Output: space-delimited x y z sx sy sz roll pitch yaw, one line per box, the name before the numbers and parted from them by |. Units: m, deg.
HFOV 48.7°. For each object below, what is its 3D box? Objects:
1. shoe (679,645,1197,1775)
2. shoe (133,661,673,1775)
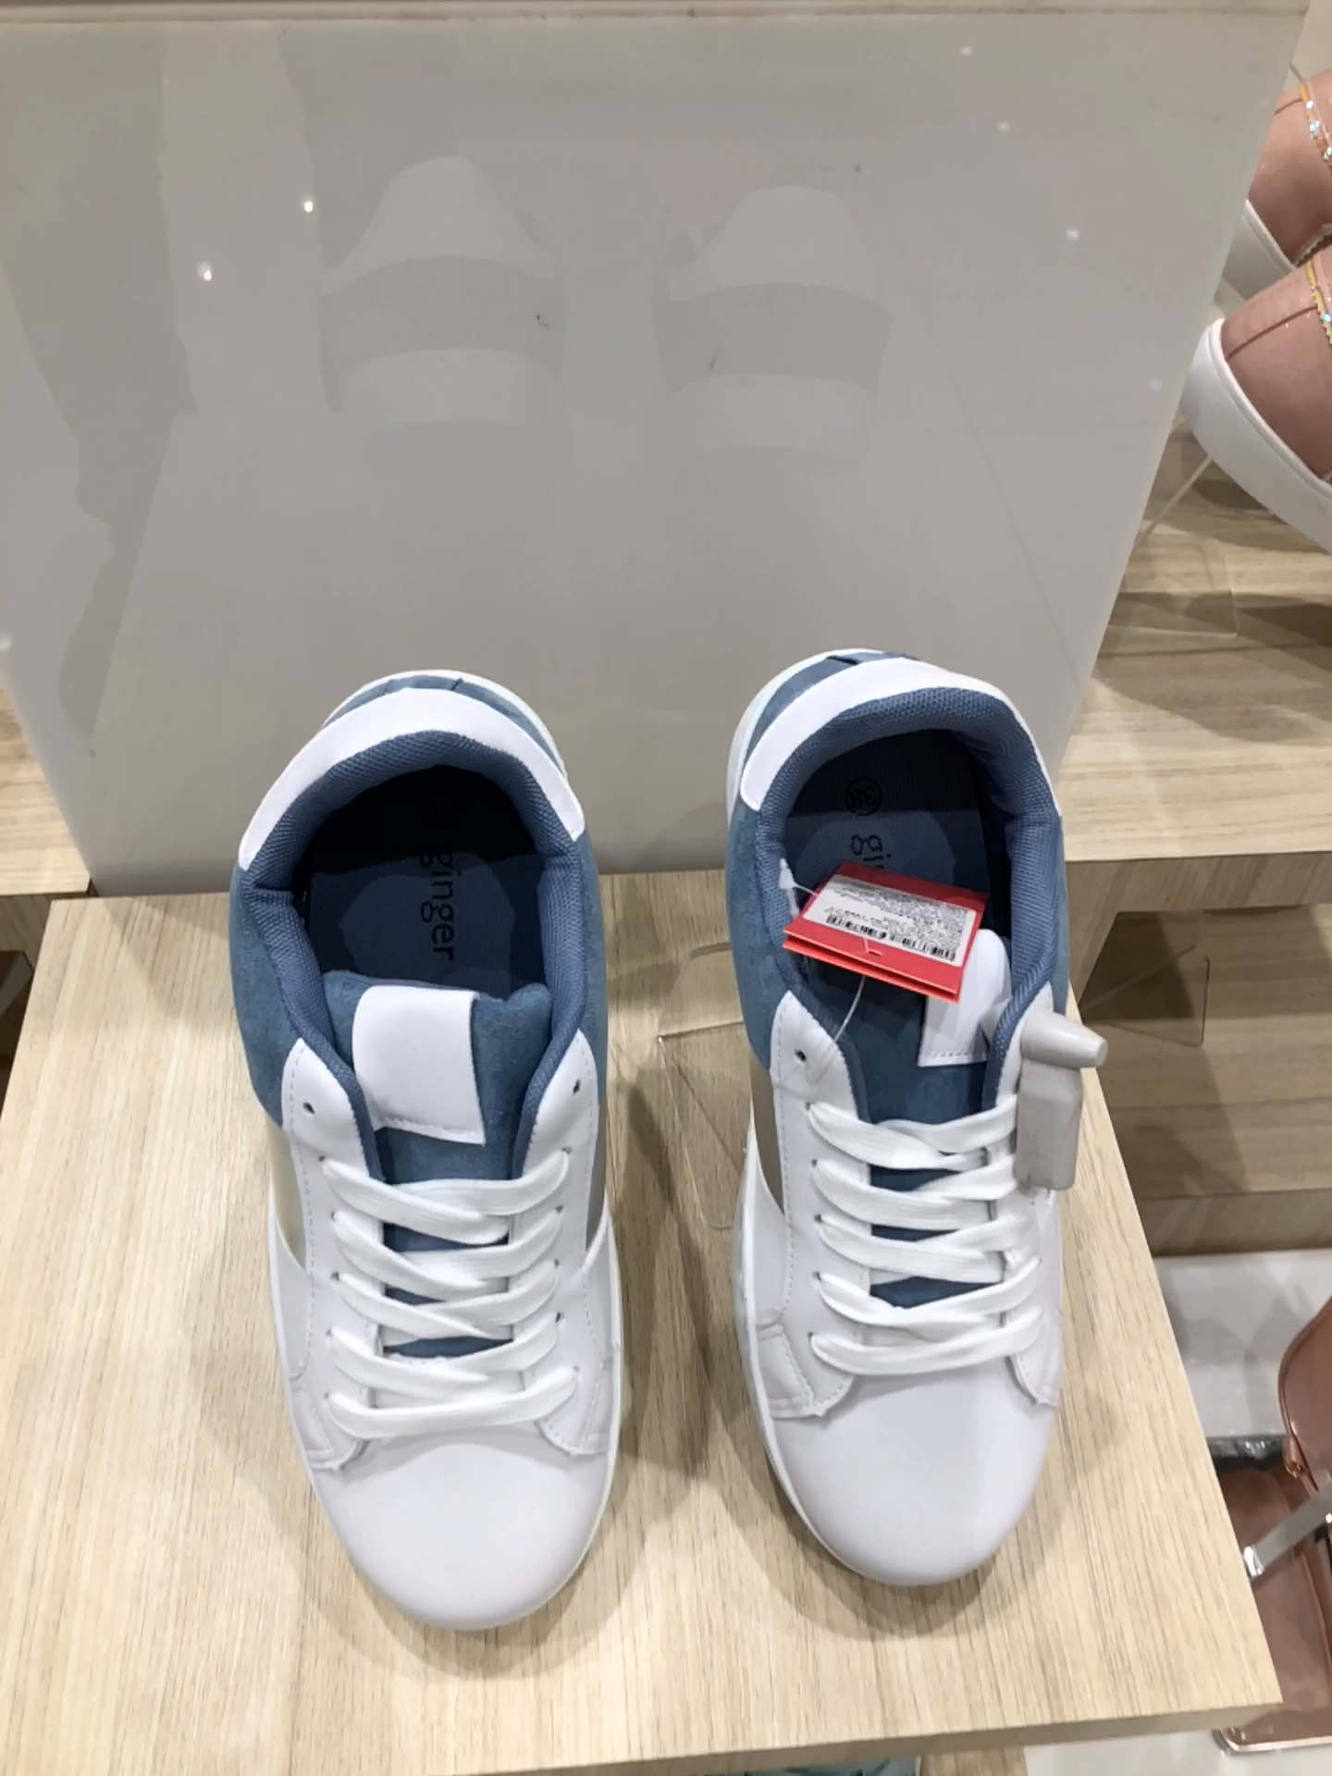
shoe | 0.062 0.072 0.380 0.102 0.263 0.104 -2 9 -4
shoe | -0.058 0.078 0.368 0.092 0.261 0.104 -5 8 -6
